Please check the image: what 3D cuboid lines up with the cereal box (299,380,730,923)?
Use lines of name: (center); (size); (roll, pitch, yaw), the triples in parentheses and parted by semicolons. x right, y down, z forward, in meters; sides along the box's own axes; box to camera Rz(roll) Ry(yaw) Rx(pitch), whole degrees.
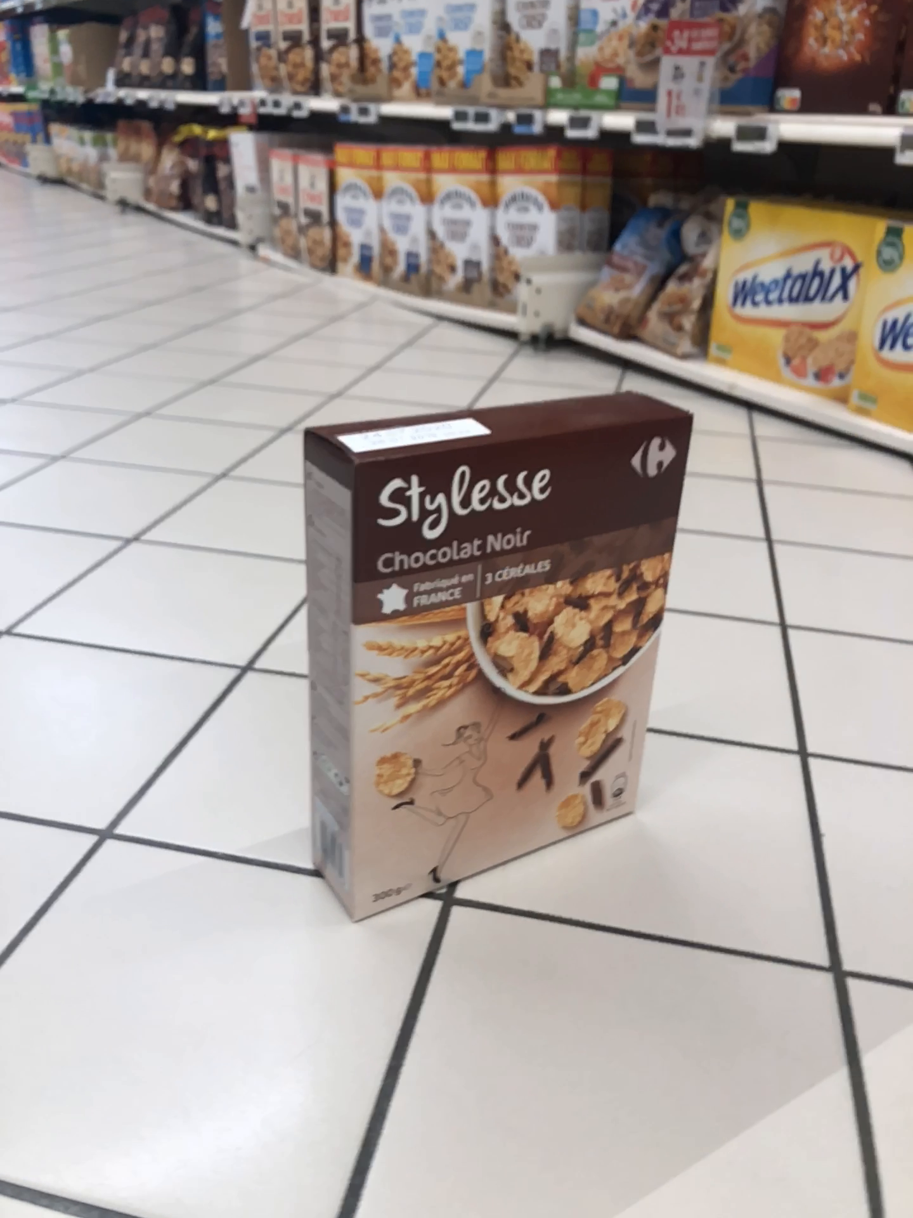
cereal box: (0.027, 0.015, 0.530); (0.201, 0.239, 0.070); (-13, 29, -30)
